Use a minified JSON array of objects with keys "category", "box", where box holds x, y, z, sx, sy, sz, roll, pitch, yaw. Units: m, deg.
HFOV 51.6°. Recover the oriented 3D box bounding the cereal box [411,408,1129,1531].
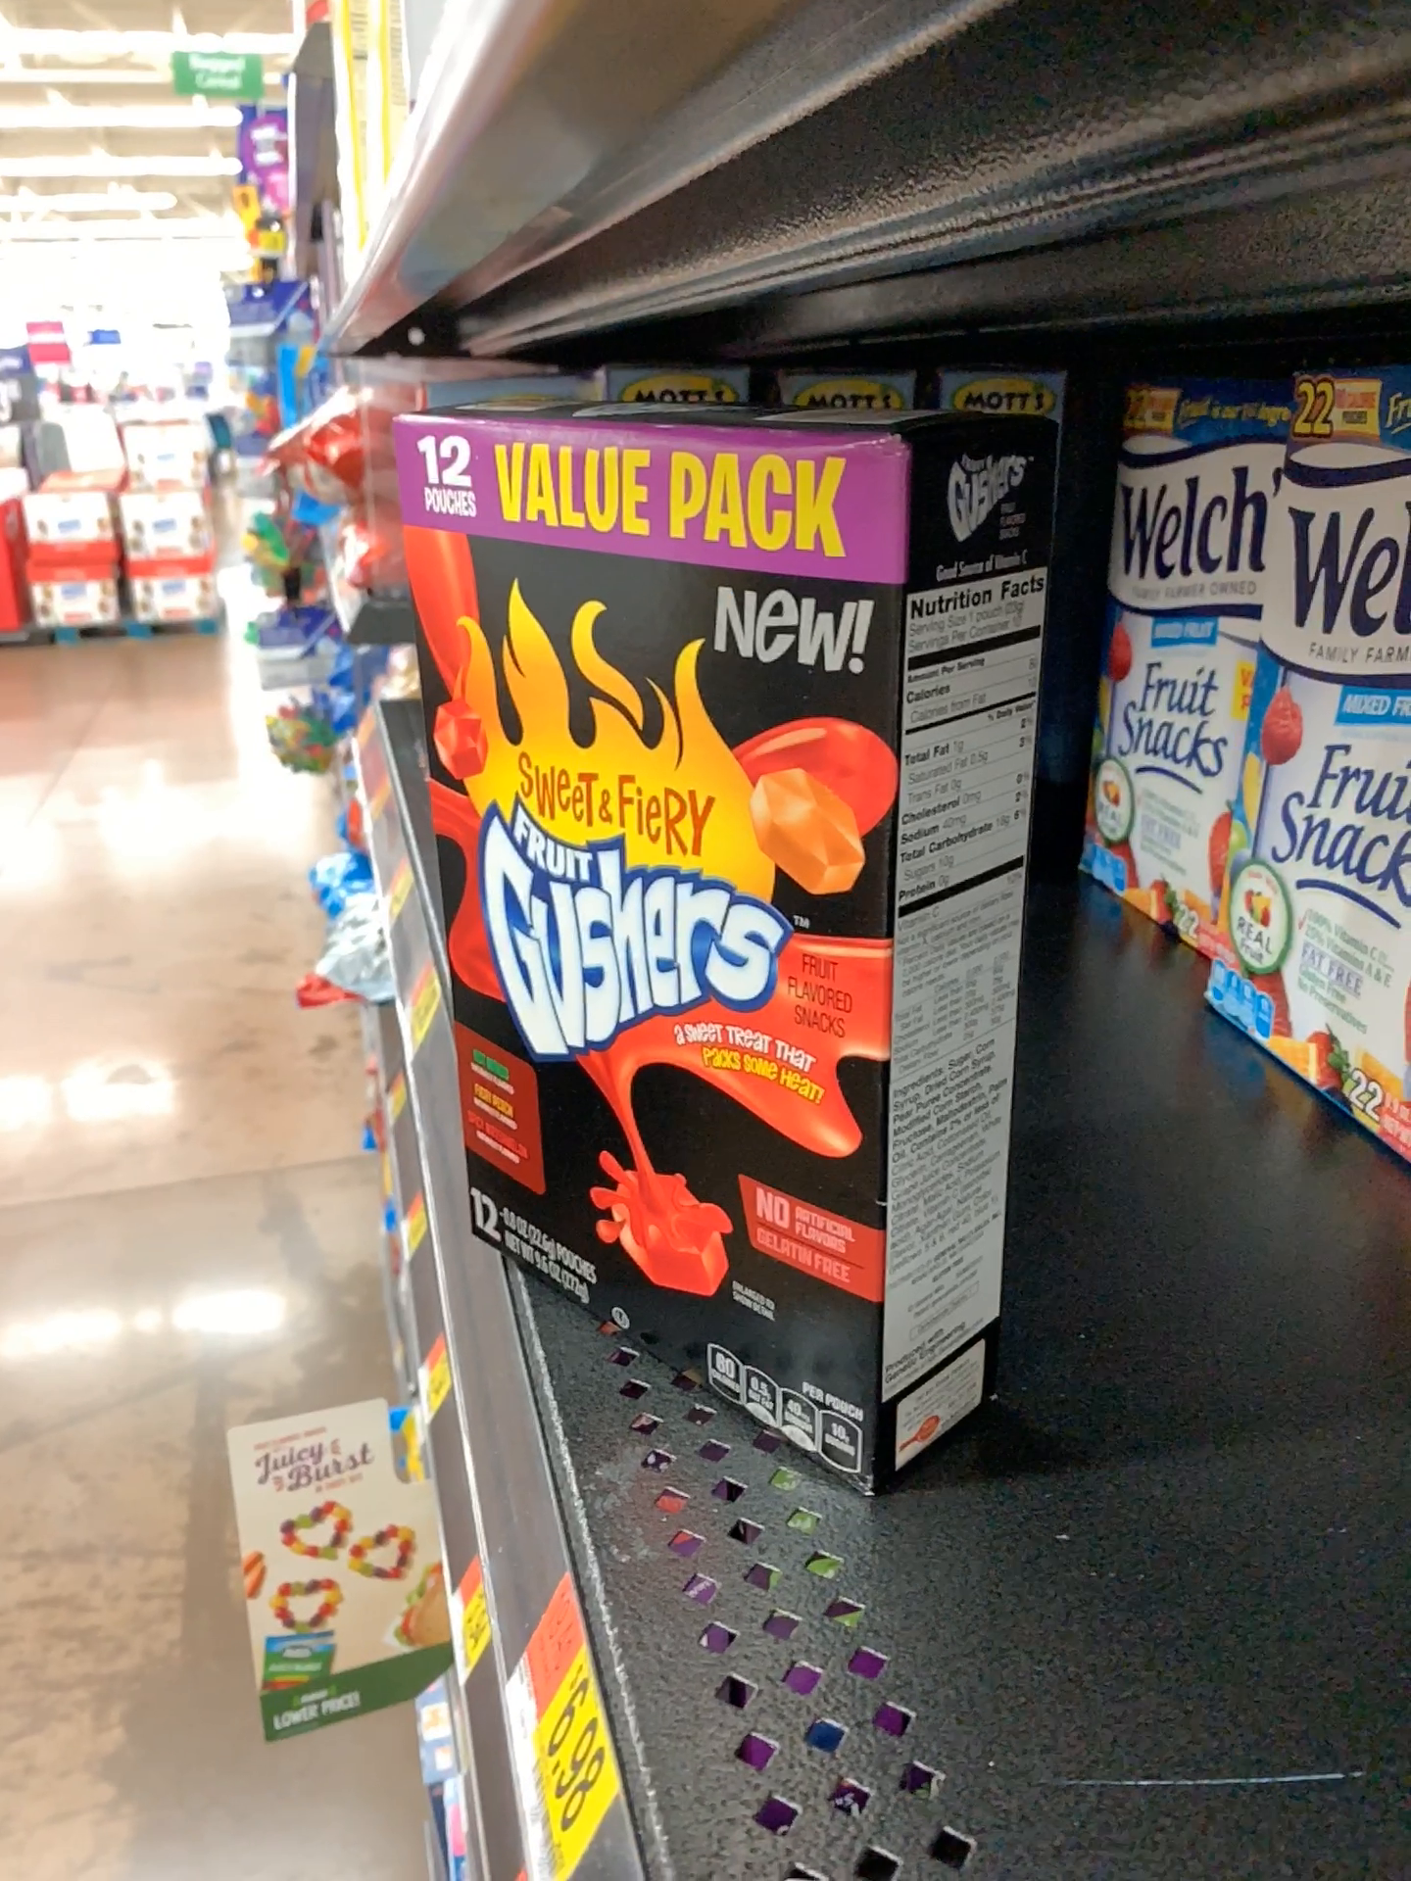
[{"category":"cereal box","box":[0.009,-0.003,0.333,0.050,0.219,0.150,-22,29,-40]}]
